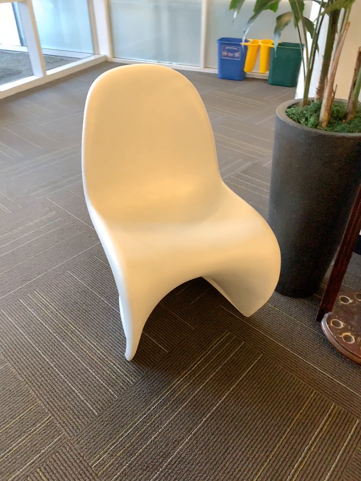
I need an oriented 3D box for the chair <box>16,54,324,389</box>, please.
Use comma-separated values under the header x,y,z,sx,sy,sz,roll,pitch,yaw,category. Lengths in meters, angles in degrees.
x,y,z,sx,sy,sz,roll,pitch,yaw,category
-0.053,-0.105,1.217,0.601,0.775,0.583,-23,43,-27,chair
